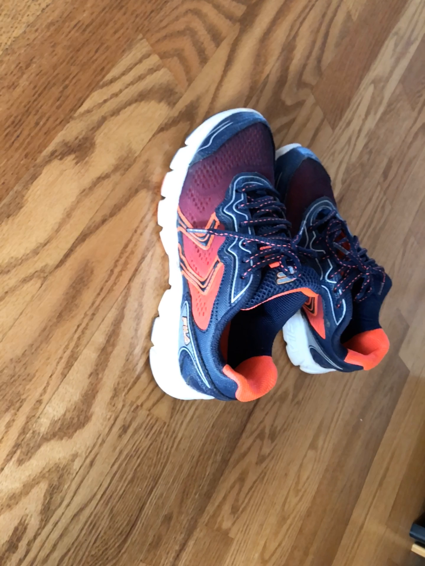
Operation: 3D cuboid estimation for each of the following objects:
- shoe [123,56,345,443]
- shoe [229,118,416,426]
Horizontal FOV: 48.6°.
[{"bbox_3d":[0.017,-0.023,0.401,0.108,0.109,0.270,8,90,-42],"label":"shoe"},{"bbox_3d":[0.124,-0.014,0.497,0.116,0.109,0.277,-26,112,-37],"label":"shoe"}]
